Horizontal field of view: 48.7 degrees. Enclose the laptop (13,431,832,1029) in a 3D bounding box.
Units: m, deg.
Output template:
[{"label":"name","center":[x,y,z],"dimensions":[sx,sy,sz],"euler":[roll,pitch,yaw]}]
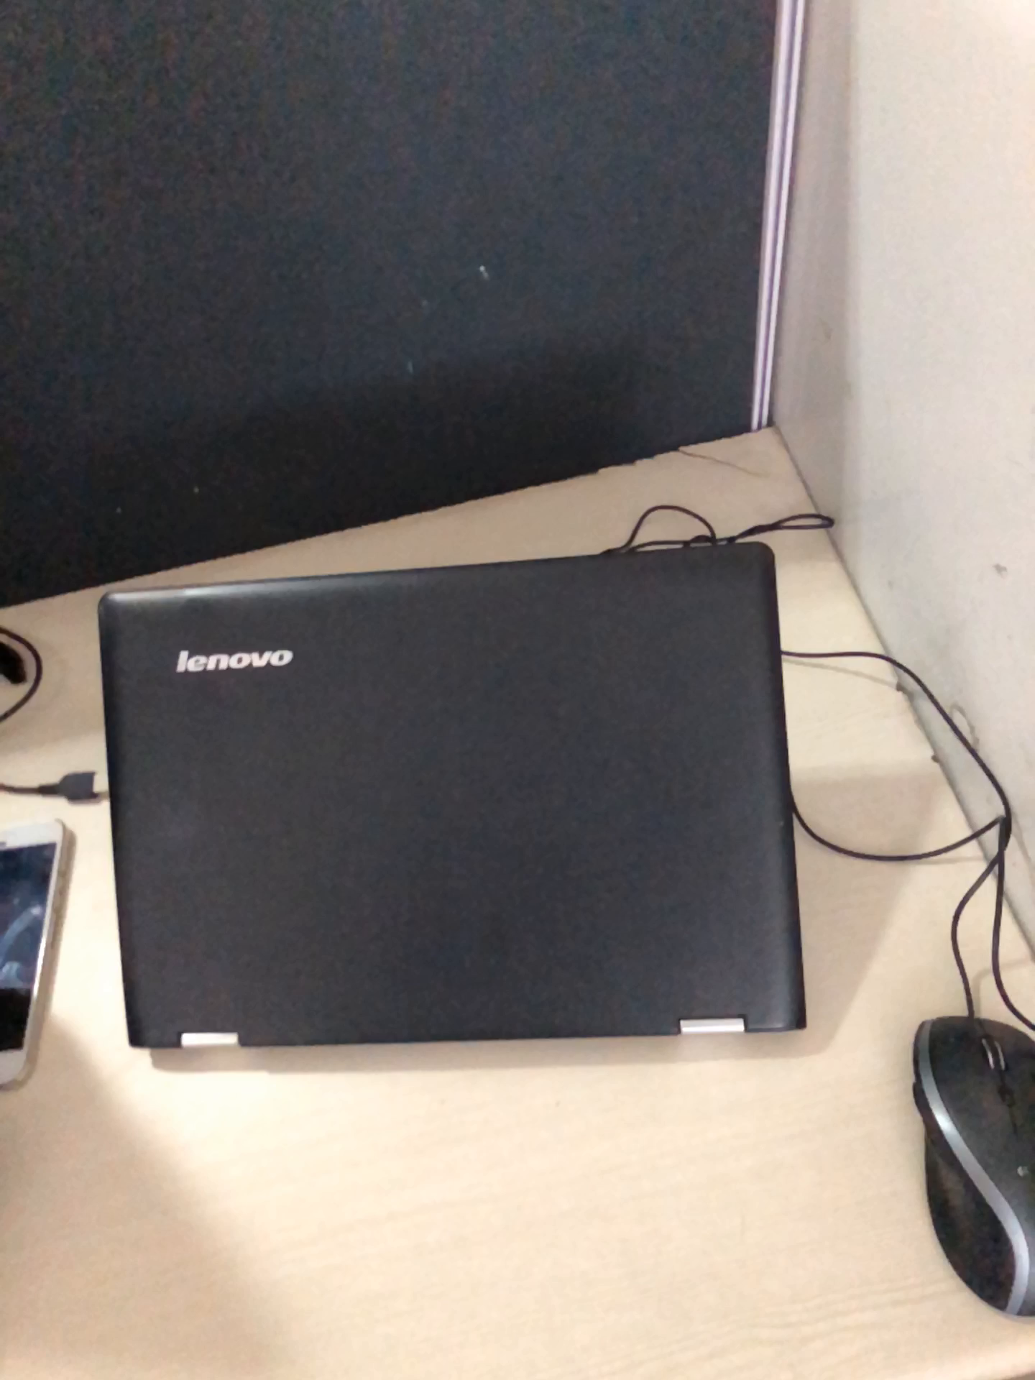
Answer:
[{"label":"laptop","center":[-0.037,0.028,0.546],"dimensions":[0.324,0.142,0.205],"euler":[-4,61,6]}]
